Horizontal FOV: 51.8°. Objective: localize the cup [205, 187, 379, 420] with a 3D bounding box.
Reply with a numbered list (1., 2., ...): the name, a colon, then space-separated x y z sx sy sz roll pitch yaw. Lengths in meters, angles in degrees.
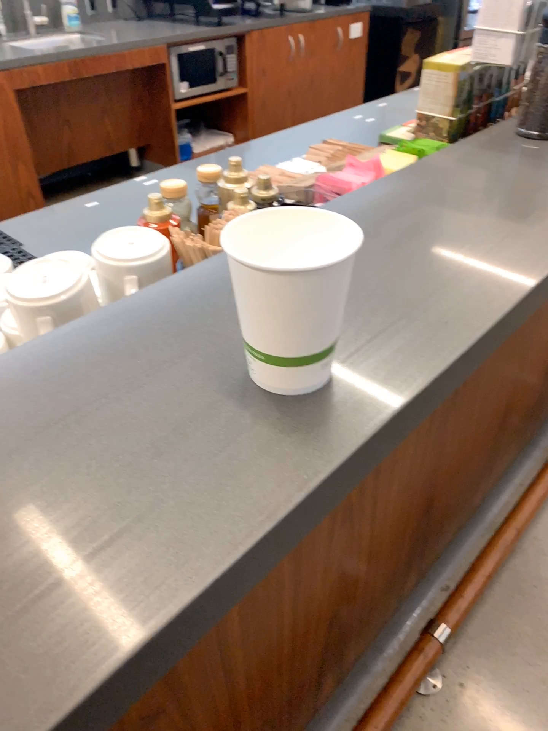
1. cup: 0.014 -0.044 0.389 0.080 0.119 0.080 0 37 0
